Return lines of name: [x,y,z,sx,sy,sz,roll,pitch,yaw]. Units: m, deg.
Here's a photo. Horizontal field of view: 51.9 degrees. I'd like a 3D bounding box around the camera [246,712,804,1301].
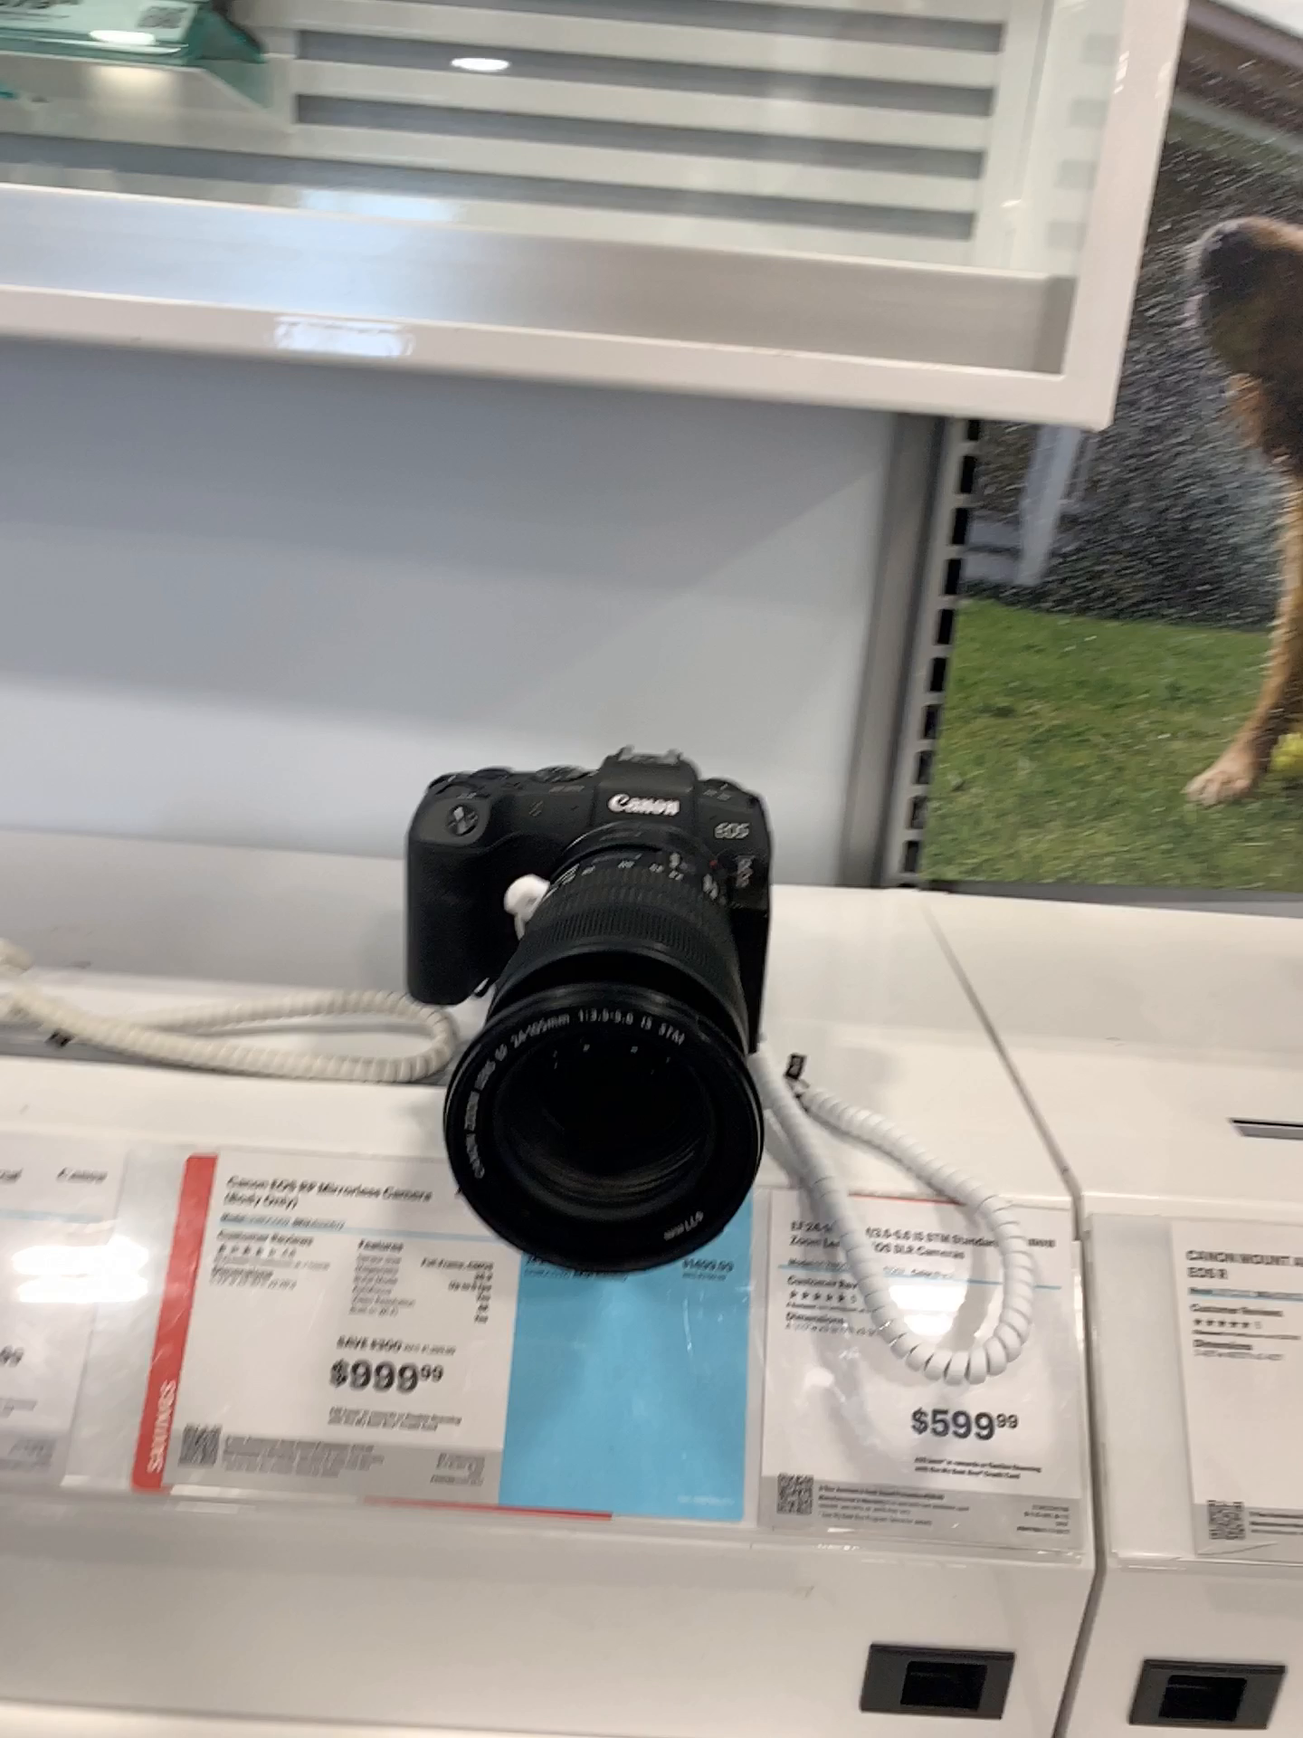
camera: [-0.028,0.026,0.425,0.132,0.100,0.200,4,20,2]
